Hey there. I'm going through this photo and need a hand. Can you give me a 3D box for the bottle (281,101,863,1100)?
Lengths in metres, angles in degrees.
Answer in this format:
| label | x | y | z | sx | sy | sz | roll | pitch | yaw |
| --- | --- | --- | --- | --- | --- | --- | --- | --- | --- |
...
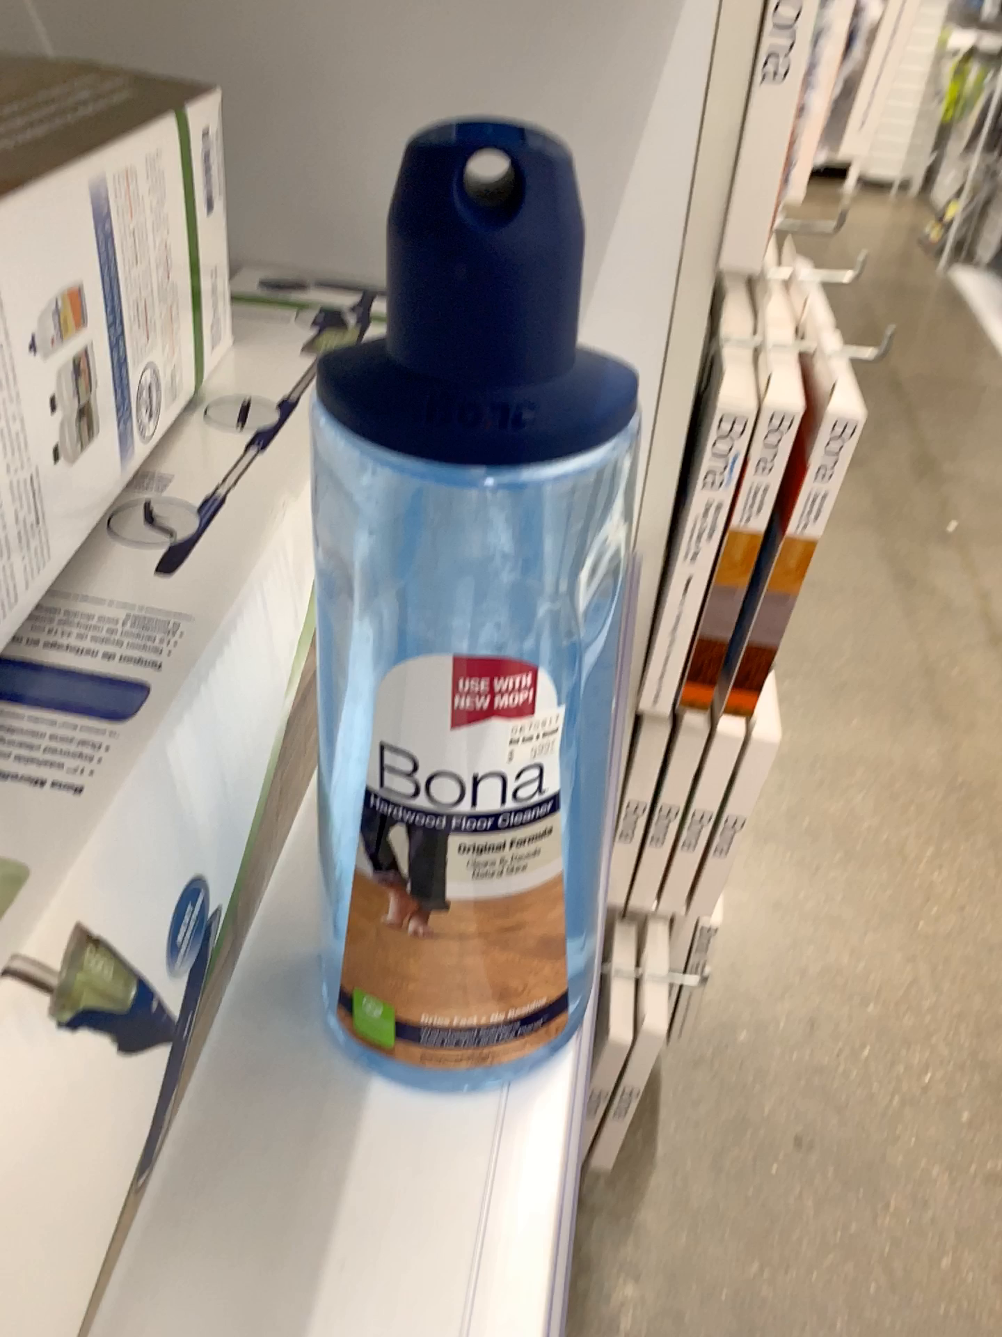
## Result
| label | x | y | z | sx | sy | sz | roll | pitch | yaw |
| --- | --- | --- | --- | --- | --- | --- | --- | --- | --- |
| bottle | 0.000 | 0.007 | 0.291 | 0.100 | 0.278 | 0.080 | -1 | 38 | -7 |
